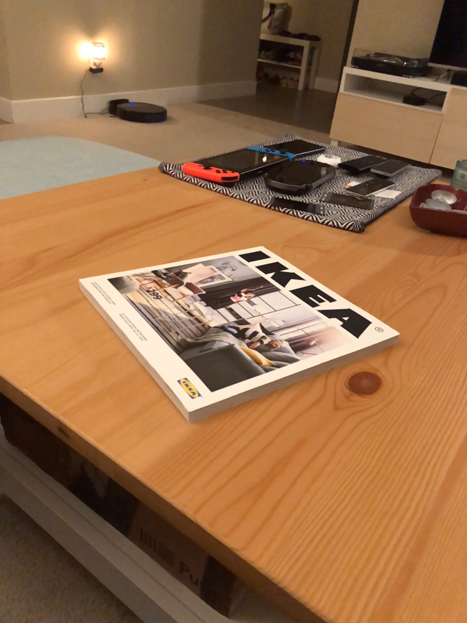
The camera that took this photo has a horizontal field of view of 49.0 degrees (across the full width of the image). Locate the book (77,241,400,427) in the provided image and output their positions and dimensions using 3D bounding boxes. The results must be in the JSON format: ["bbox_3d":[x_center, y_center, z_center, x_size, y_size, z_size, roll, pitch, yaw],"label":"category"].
[{"bbox_3d":[-0.001,-0.002,0.473,0.216,0.015,0.211,-15,37,-32],"label":"book"}]
